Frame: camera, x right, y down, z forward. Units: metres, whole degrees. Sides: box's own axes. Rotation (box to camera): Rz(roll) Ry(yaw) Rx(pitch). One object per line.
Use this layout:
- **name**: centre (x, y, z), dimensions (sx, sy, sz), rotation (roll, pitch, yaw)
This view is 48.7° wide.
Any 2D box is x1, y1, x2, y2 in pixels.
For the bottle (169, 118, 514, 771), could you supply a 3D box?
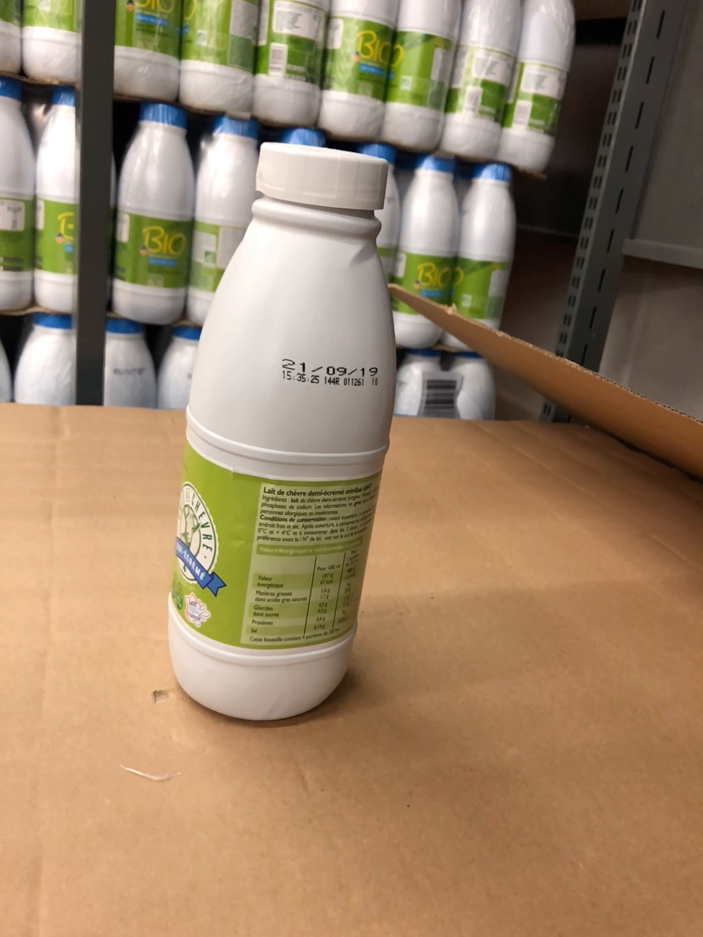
- **bottle**: centre (-0.017, -0.012, 0.331), dimensions (0.080, 0.239, 0.100), rotation (-3, 21, -30)
